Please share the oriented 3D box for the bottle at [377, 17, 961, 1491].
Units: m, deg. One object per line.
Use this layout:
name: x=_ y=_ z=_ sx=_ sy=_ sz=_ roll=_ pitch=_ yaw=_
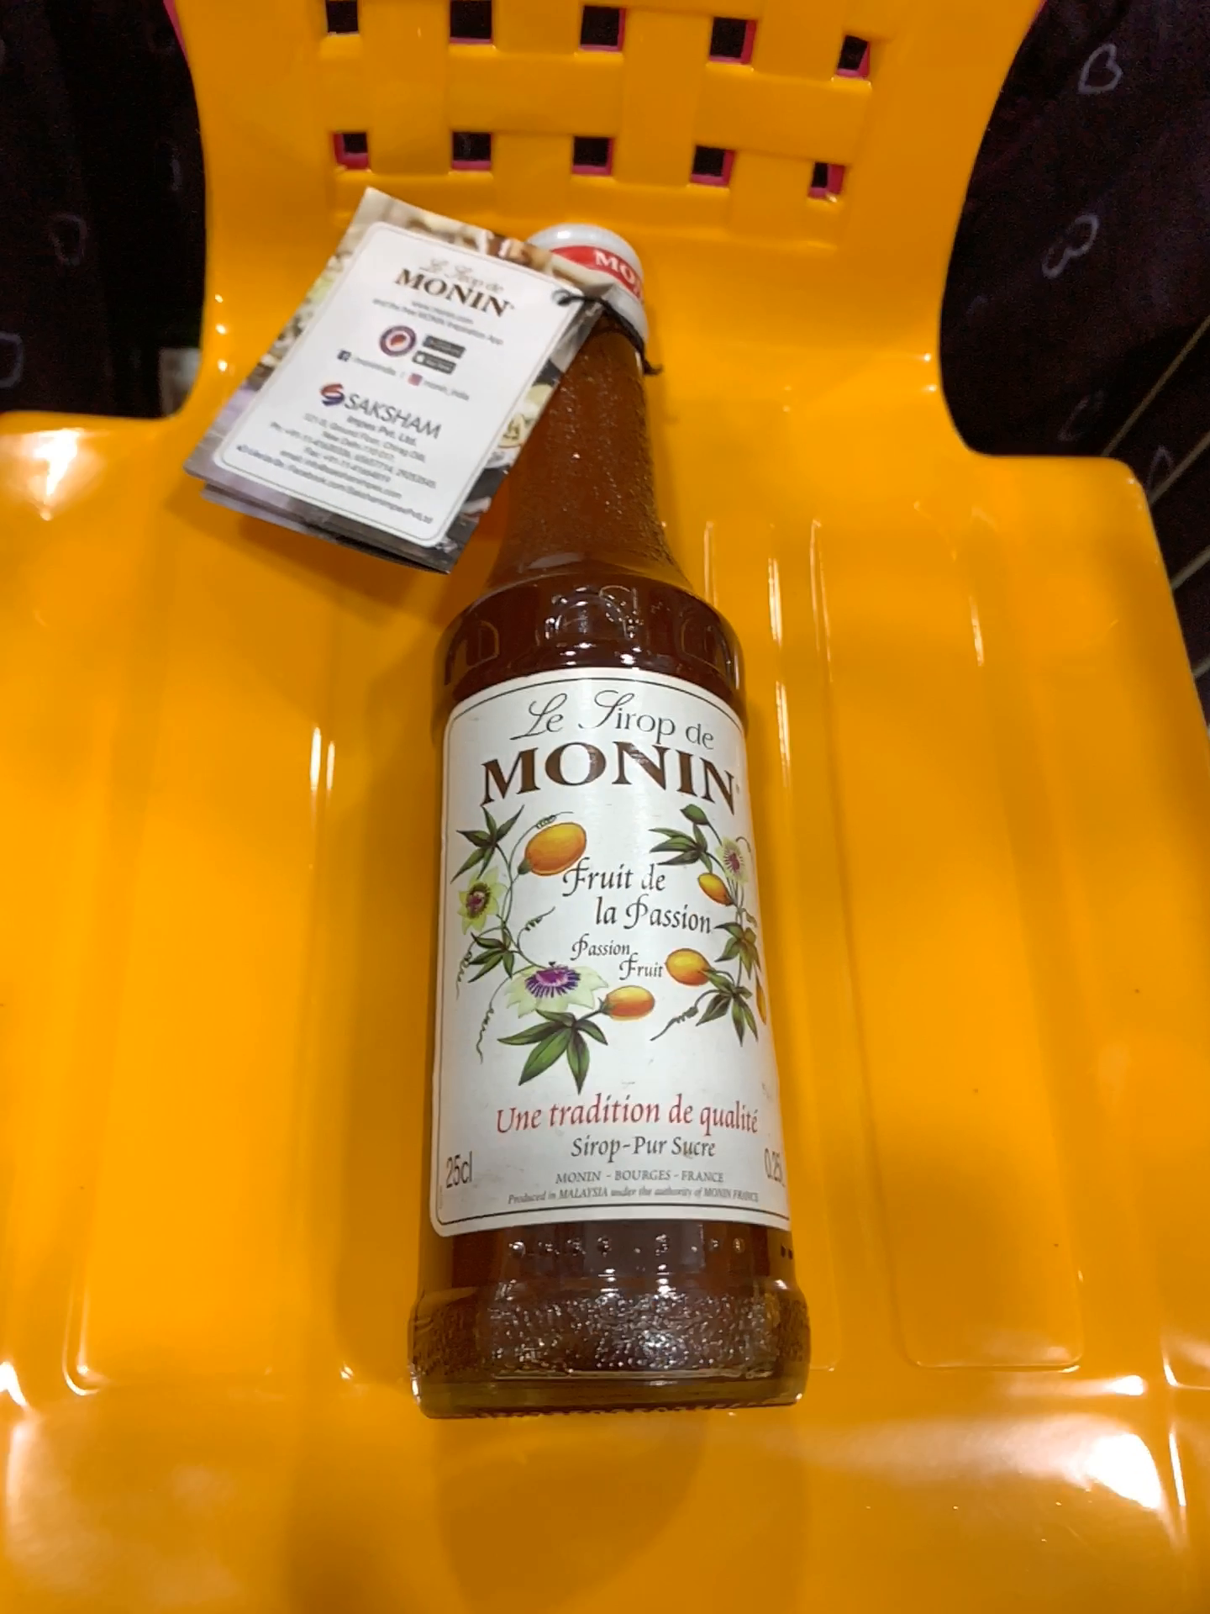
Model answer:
bottle: x=0.001 y=-0.020 z=0.200 sx=0.060 sy=0.060 sz=0.220 roll=1 pitch=66 yaw=-5
